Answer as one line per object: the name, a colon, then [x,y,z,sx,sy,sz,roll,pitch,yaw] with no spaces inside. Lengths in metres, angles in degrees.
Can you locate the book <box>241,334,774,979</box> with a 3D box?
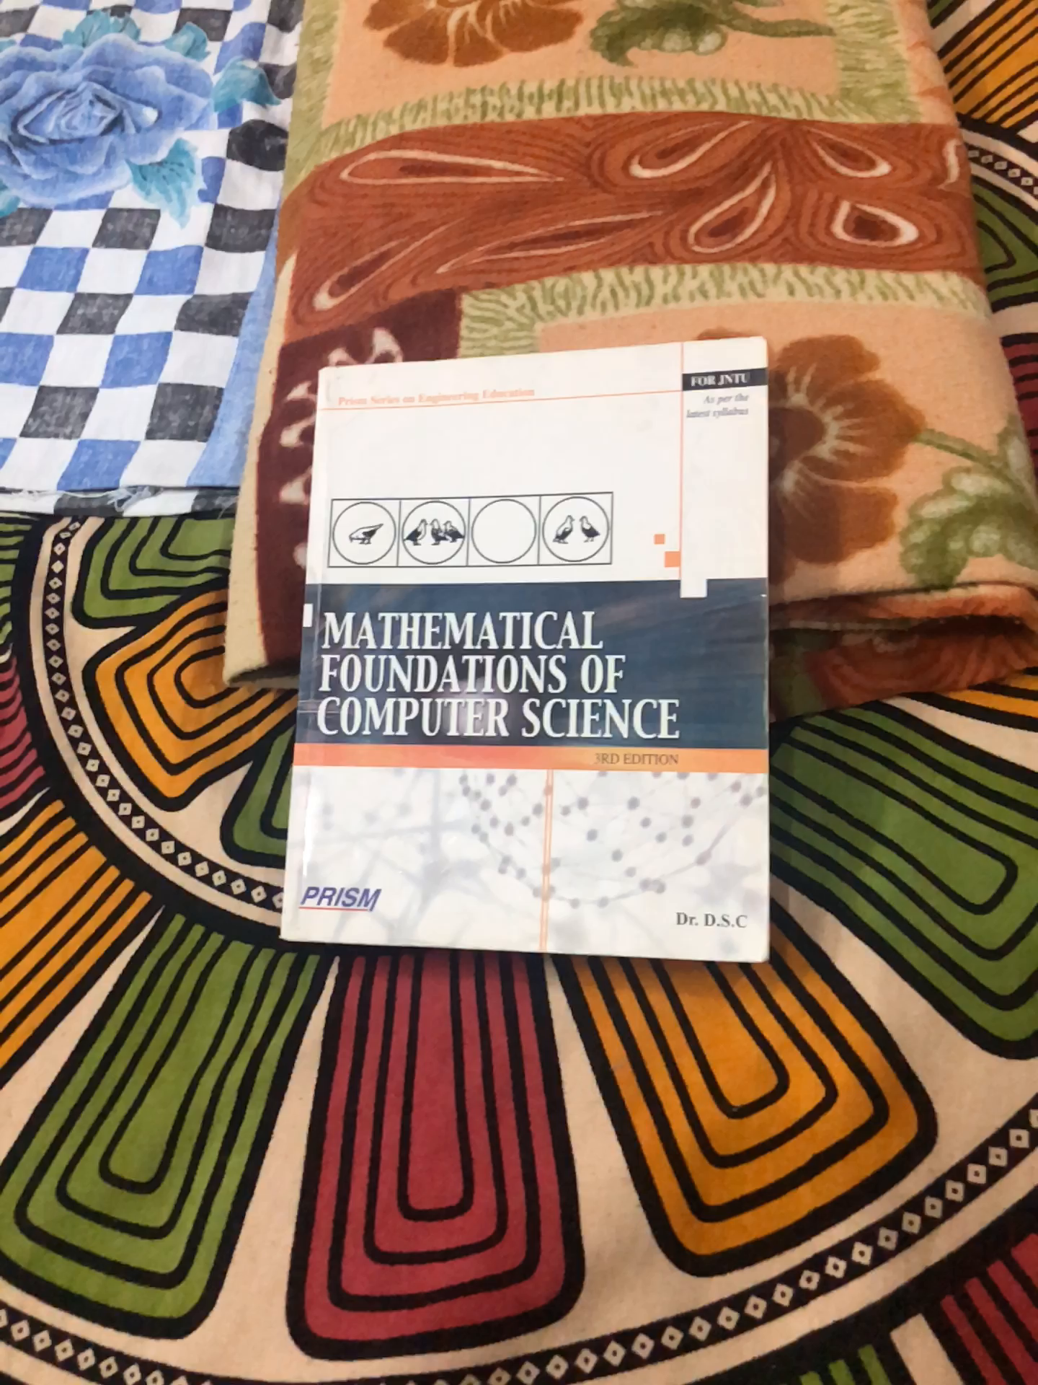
book: [-0.001,-0.013,0.443,0.190,0.050,0.230,0,81,10]
